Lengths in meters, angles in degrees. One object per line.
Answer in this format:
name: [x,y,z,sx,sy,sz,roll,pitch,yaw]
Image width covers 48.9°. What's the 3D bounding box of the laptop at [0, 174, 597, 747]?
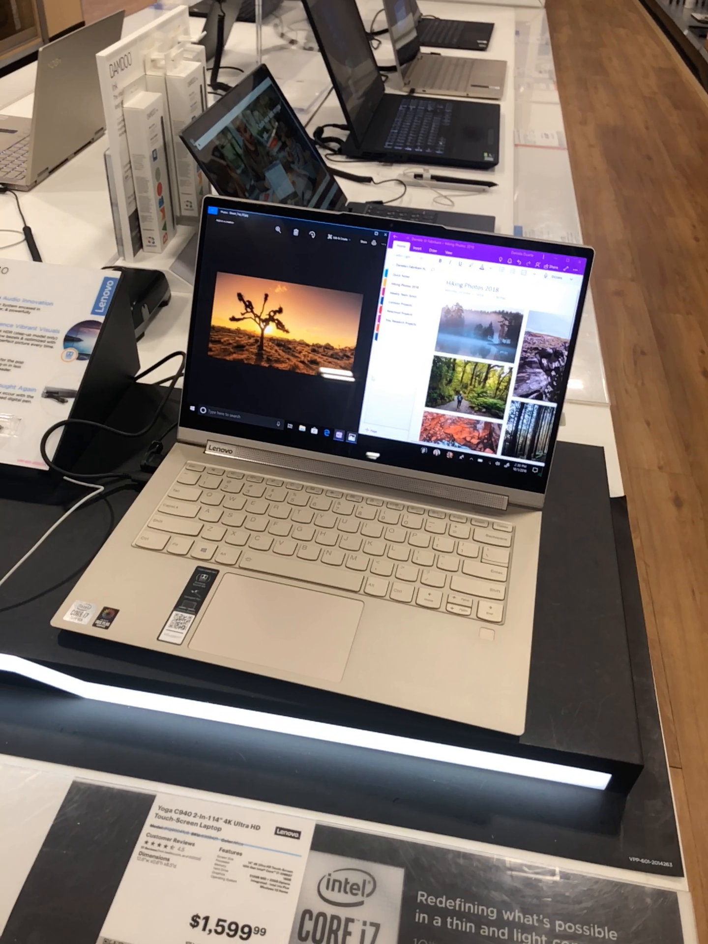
laptop: [-0.011,-0.042,0.560,0.320,0.170,0.327,11,44,10]
